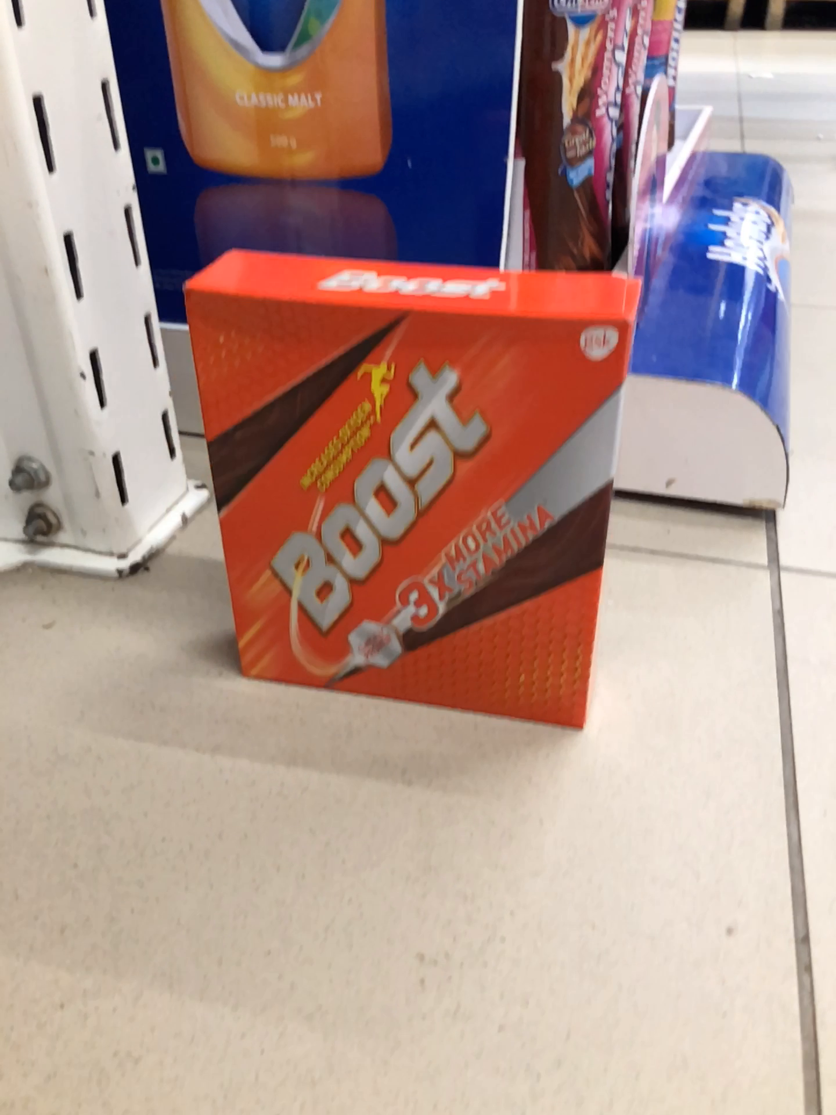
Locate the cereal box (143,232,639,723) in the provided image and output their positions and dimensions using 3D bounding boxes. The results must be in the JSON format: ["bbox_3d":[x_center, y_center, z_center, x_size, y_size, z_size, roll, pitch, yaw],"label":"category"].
[{"bbox_3d":[-0.007,-0.027,0.364,0.160,0.179,0.050,4,33,7],"label":"cereal box"}]
